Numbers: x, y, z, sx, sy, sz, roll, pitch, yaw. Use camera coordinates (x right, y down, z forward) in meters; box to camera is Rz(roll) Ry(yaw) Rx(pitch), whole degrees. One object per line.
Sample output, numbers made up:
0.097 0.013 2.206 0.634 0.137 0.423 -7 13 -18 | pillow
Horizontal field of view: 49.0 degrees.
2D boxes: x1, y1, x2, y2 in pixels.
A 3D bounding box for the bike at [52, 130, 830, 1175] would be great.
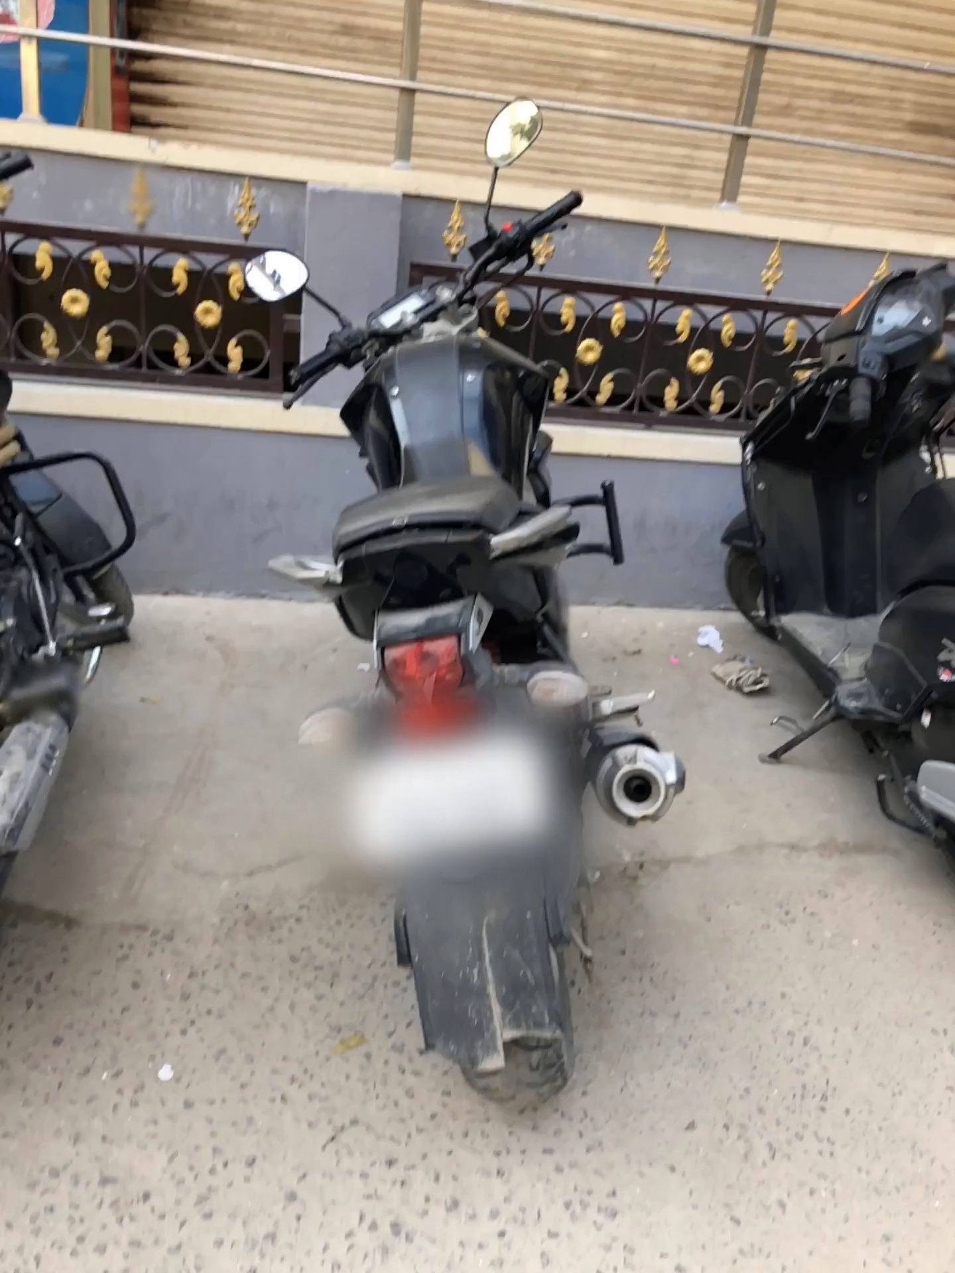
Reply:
-0.198 -0.237 1.951 0.692 1.198 1.765 3 25 -8 | bike
